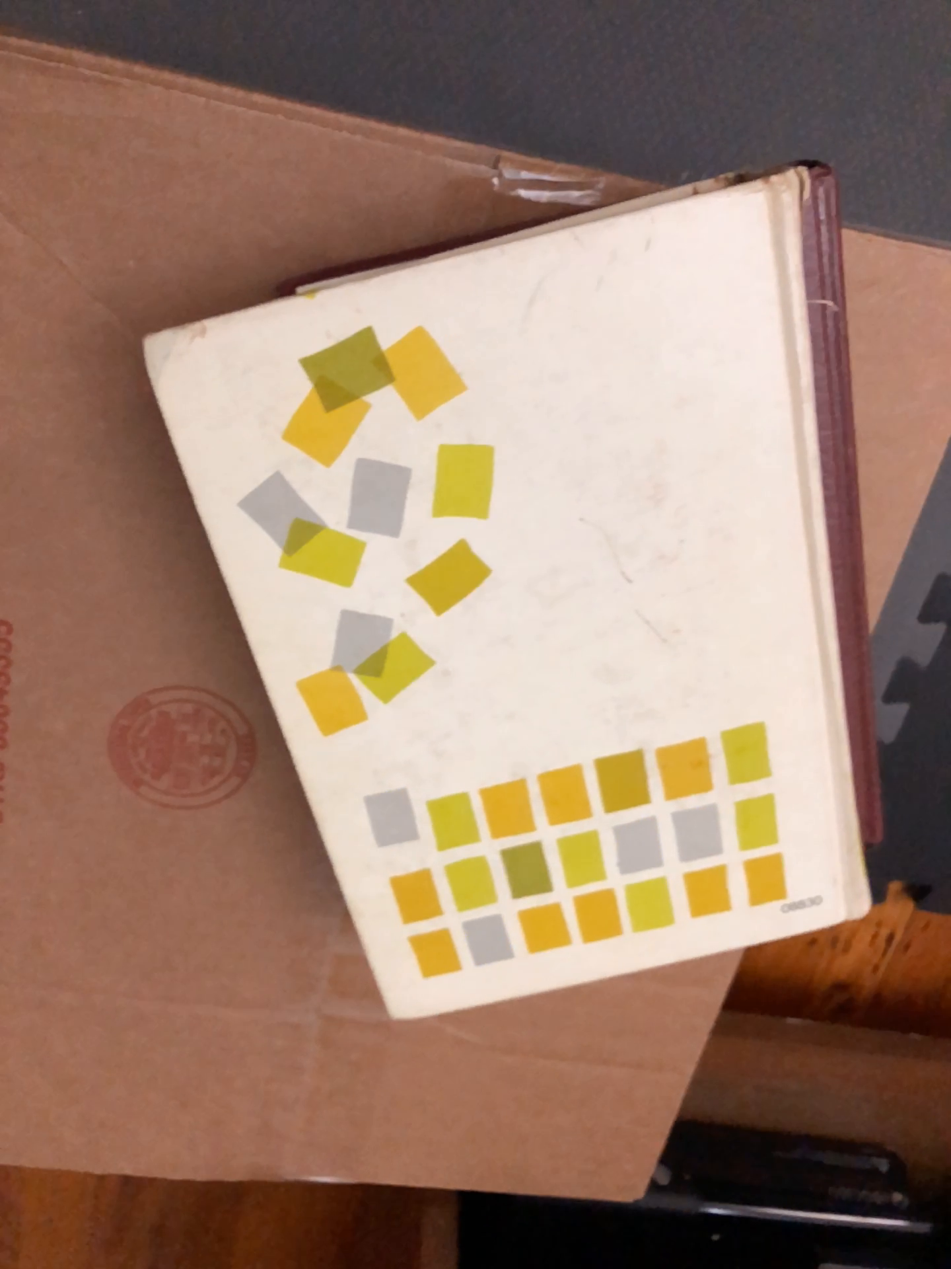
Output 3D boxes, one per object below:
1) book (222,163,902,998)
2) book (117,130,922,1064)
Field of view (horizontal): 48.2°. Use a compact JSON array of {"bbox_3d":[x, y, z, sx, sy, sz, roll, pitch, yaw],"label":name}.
[{"bbox_3d":[0.044,-0.002,0.353,0.180,0.040,0.250,-12,117,0],"label":"book"},{"bbox_3d":[0.031,0.007,0.321,0.180,0.040,0.250,-15,117,2],"label":"book"}]
